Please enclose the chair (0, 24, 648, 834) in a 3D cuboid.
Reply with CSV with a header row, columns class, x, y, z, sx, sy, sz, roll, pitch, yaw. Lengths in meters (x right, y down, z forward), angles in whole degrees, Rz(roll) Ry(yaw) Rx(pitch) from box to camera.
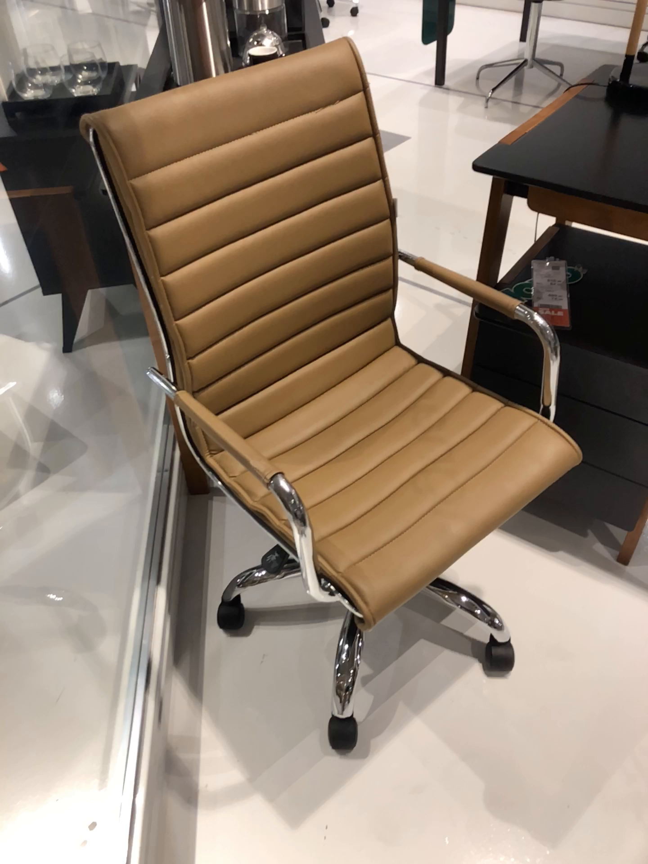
class,x,y,z,sx,sy,sz,roll,pitch,yaw
chair,0.052,-0.002,1.122,0.602,0.943,0.613,-30,49,-26
